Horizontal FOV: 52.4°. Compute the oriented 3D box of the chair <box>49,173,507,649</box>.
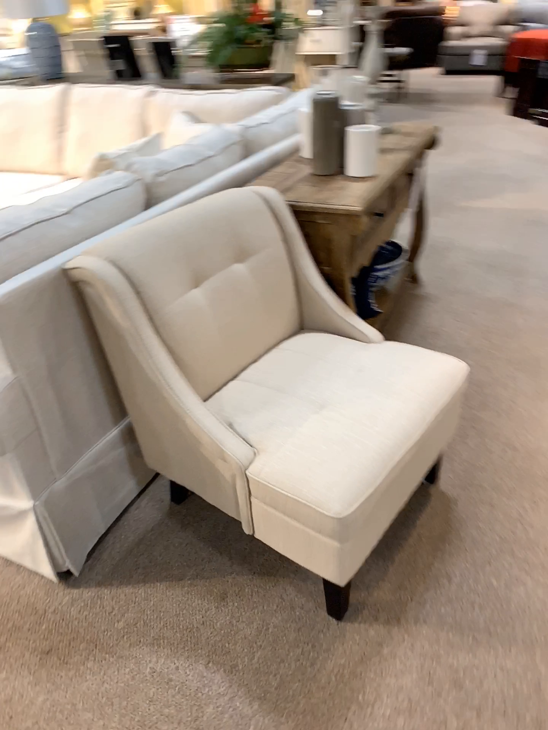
[{"bbox_3d":[0.039,0.031,1.488,0.772,0.800,0.715,21,40,31],"label":"chair"}]
